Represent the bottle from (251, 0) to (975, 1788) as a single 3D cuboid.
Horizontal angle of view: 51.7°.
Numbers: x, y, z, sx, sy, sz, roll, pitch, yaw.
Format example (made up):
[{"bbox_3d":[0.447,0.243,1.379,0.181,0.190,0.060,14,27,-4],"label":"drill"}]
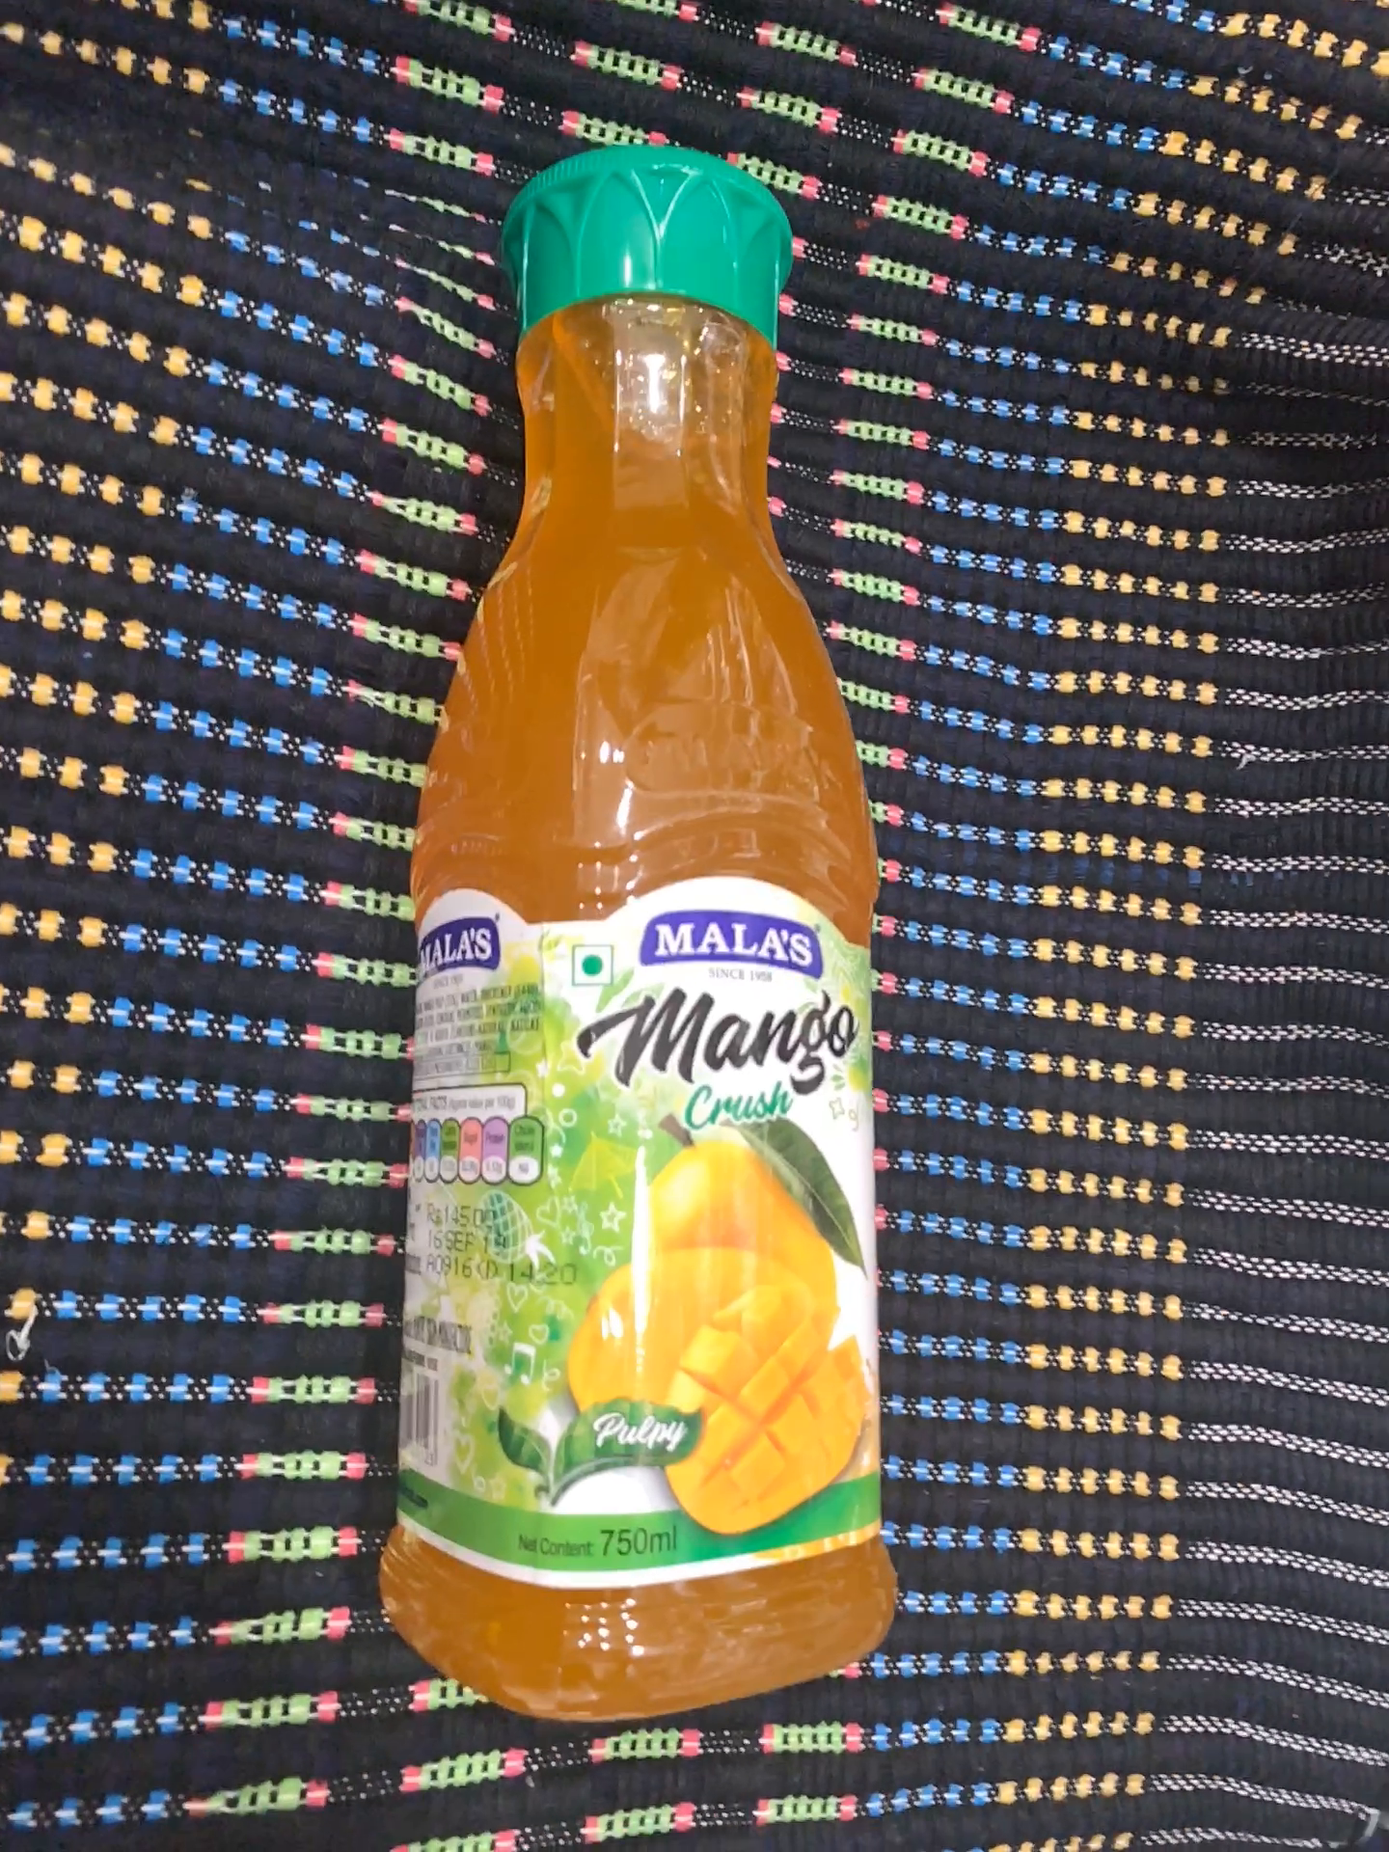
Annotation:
[{"bbox_3d":[-0.019,-0.008,0.245,0.080,0.090,0.240,6,77,-30],"label":"bottle"}]
